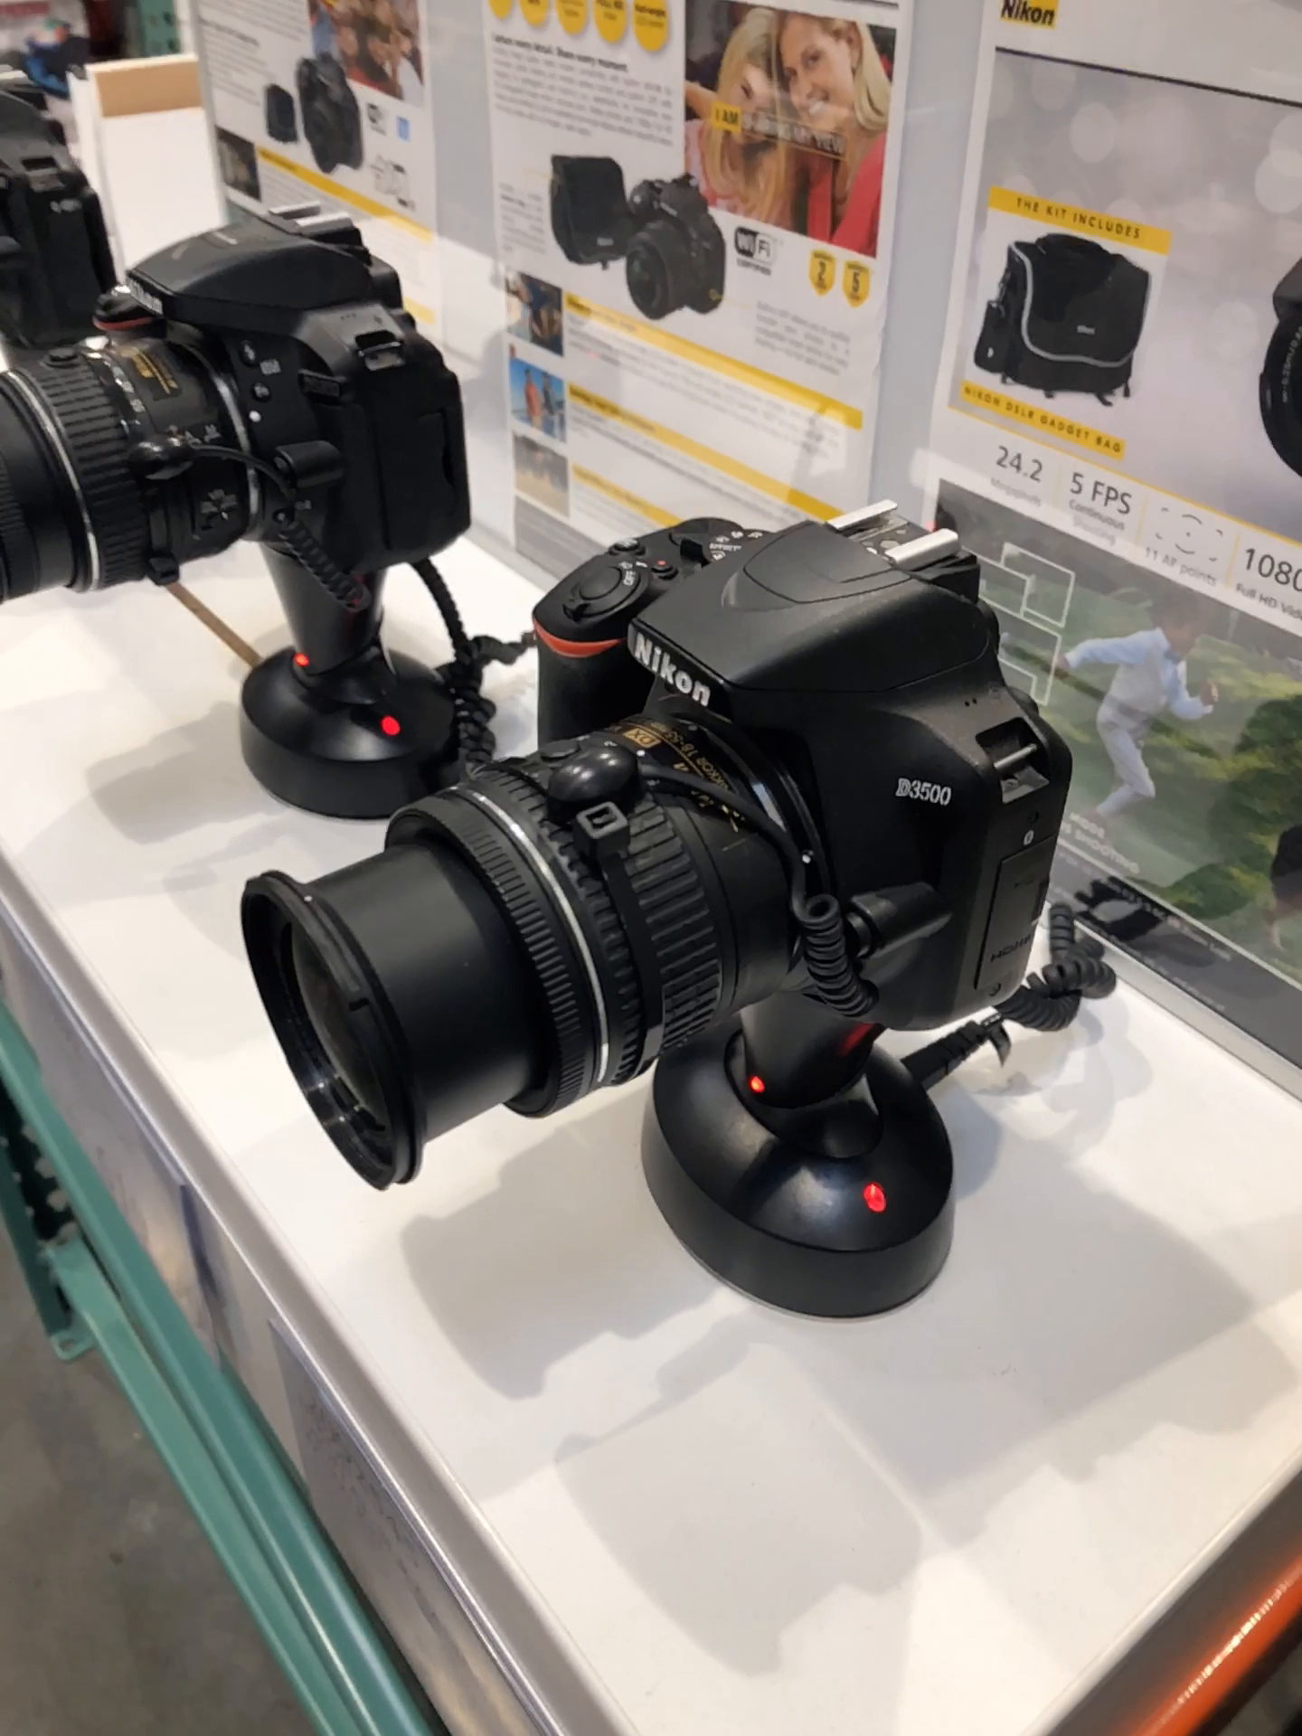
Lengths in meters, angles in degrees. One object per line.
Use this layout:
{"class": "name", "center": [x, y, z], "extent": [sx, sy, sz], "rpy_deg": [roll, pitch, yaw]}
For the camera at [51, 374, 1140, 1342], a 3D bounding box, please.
{"class": "camera", "center": [-0.013, -0.018, 0.278], "extent": [0.140, 0.089, 0.131], "rpy_deg": [-25, 46, -29]}
